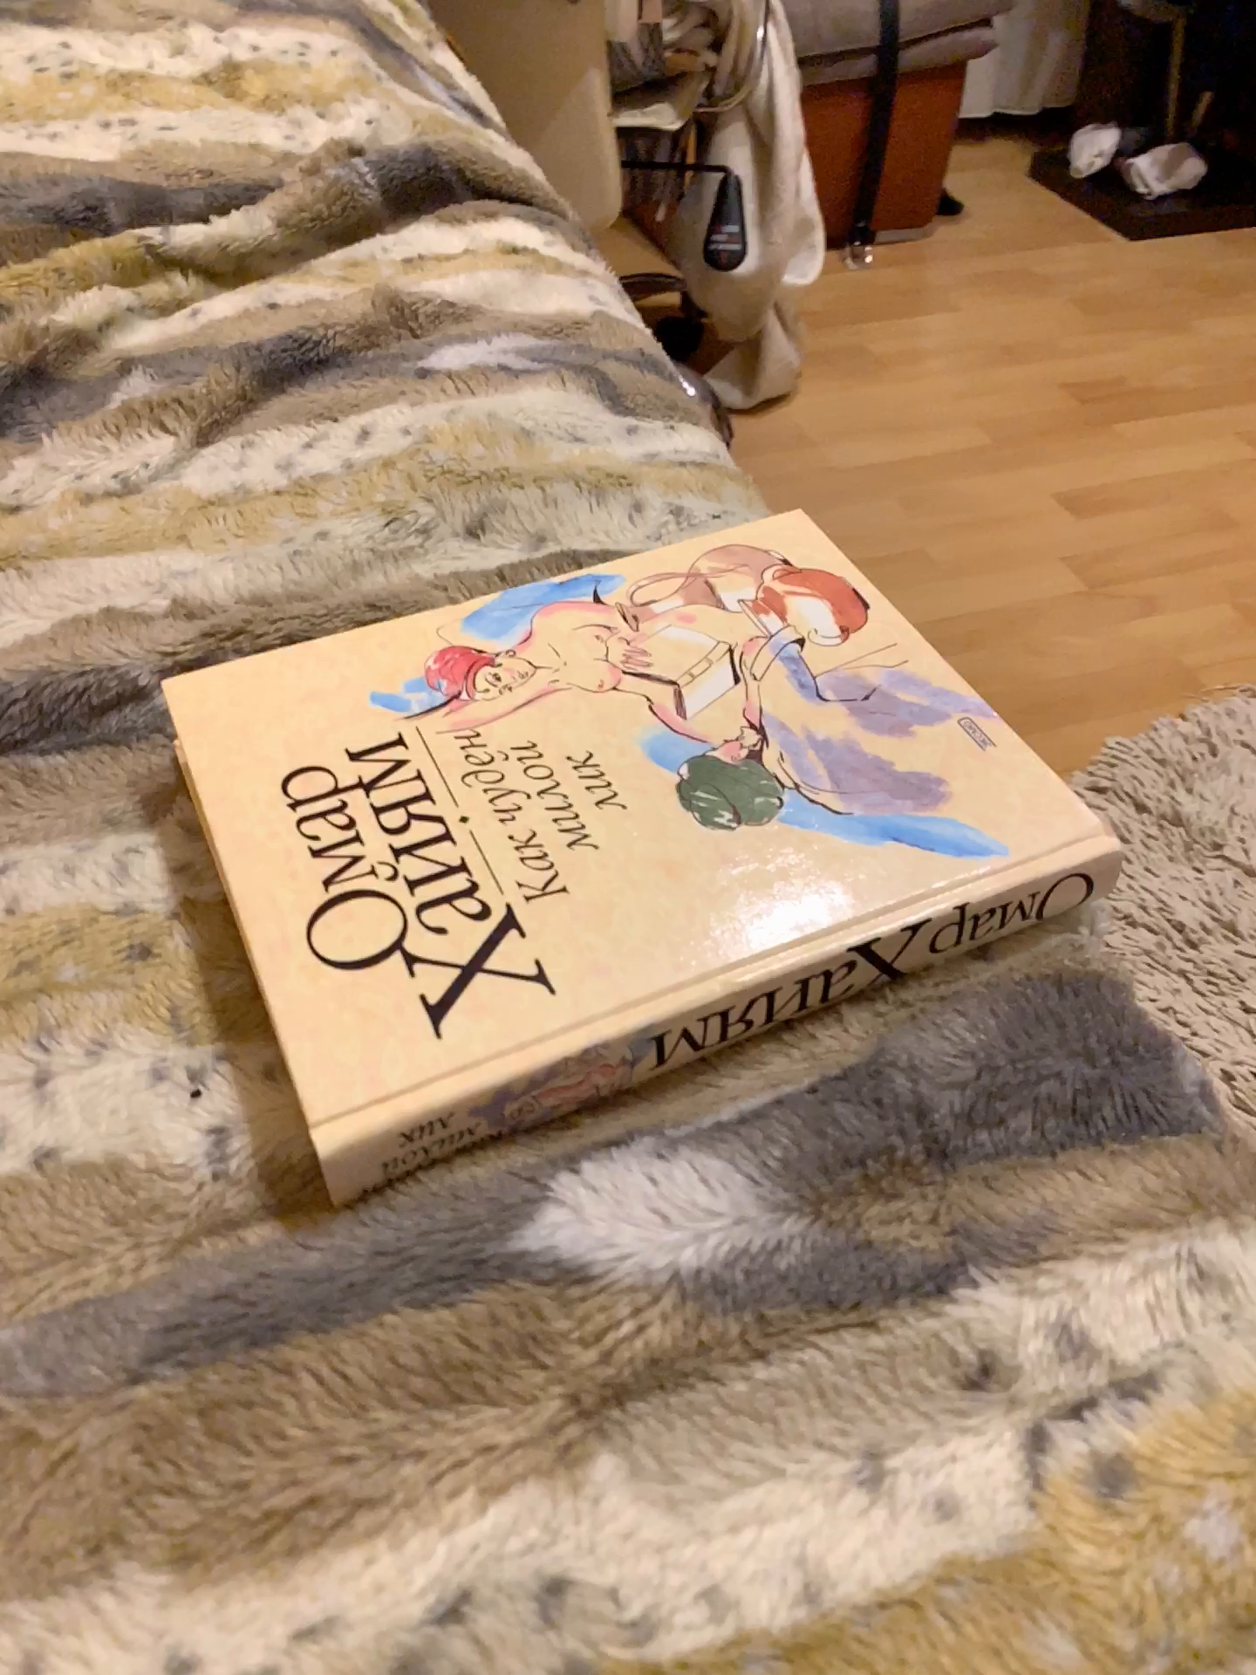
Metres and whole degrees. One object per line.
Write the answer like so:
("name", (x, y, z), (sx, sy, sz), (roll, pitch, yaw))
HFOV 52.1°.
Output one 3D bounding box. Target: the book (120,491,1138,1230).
("book", (-0.007, -0.015, 0.353), (0.220, 0.030, 0.171), (-18, 51, -18))
